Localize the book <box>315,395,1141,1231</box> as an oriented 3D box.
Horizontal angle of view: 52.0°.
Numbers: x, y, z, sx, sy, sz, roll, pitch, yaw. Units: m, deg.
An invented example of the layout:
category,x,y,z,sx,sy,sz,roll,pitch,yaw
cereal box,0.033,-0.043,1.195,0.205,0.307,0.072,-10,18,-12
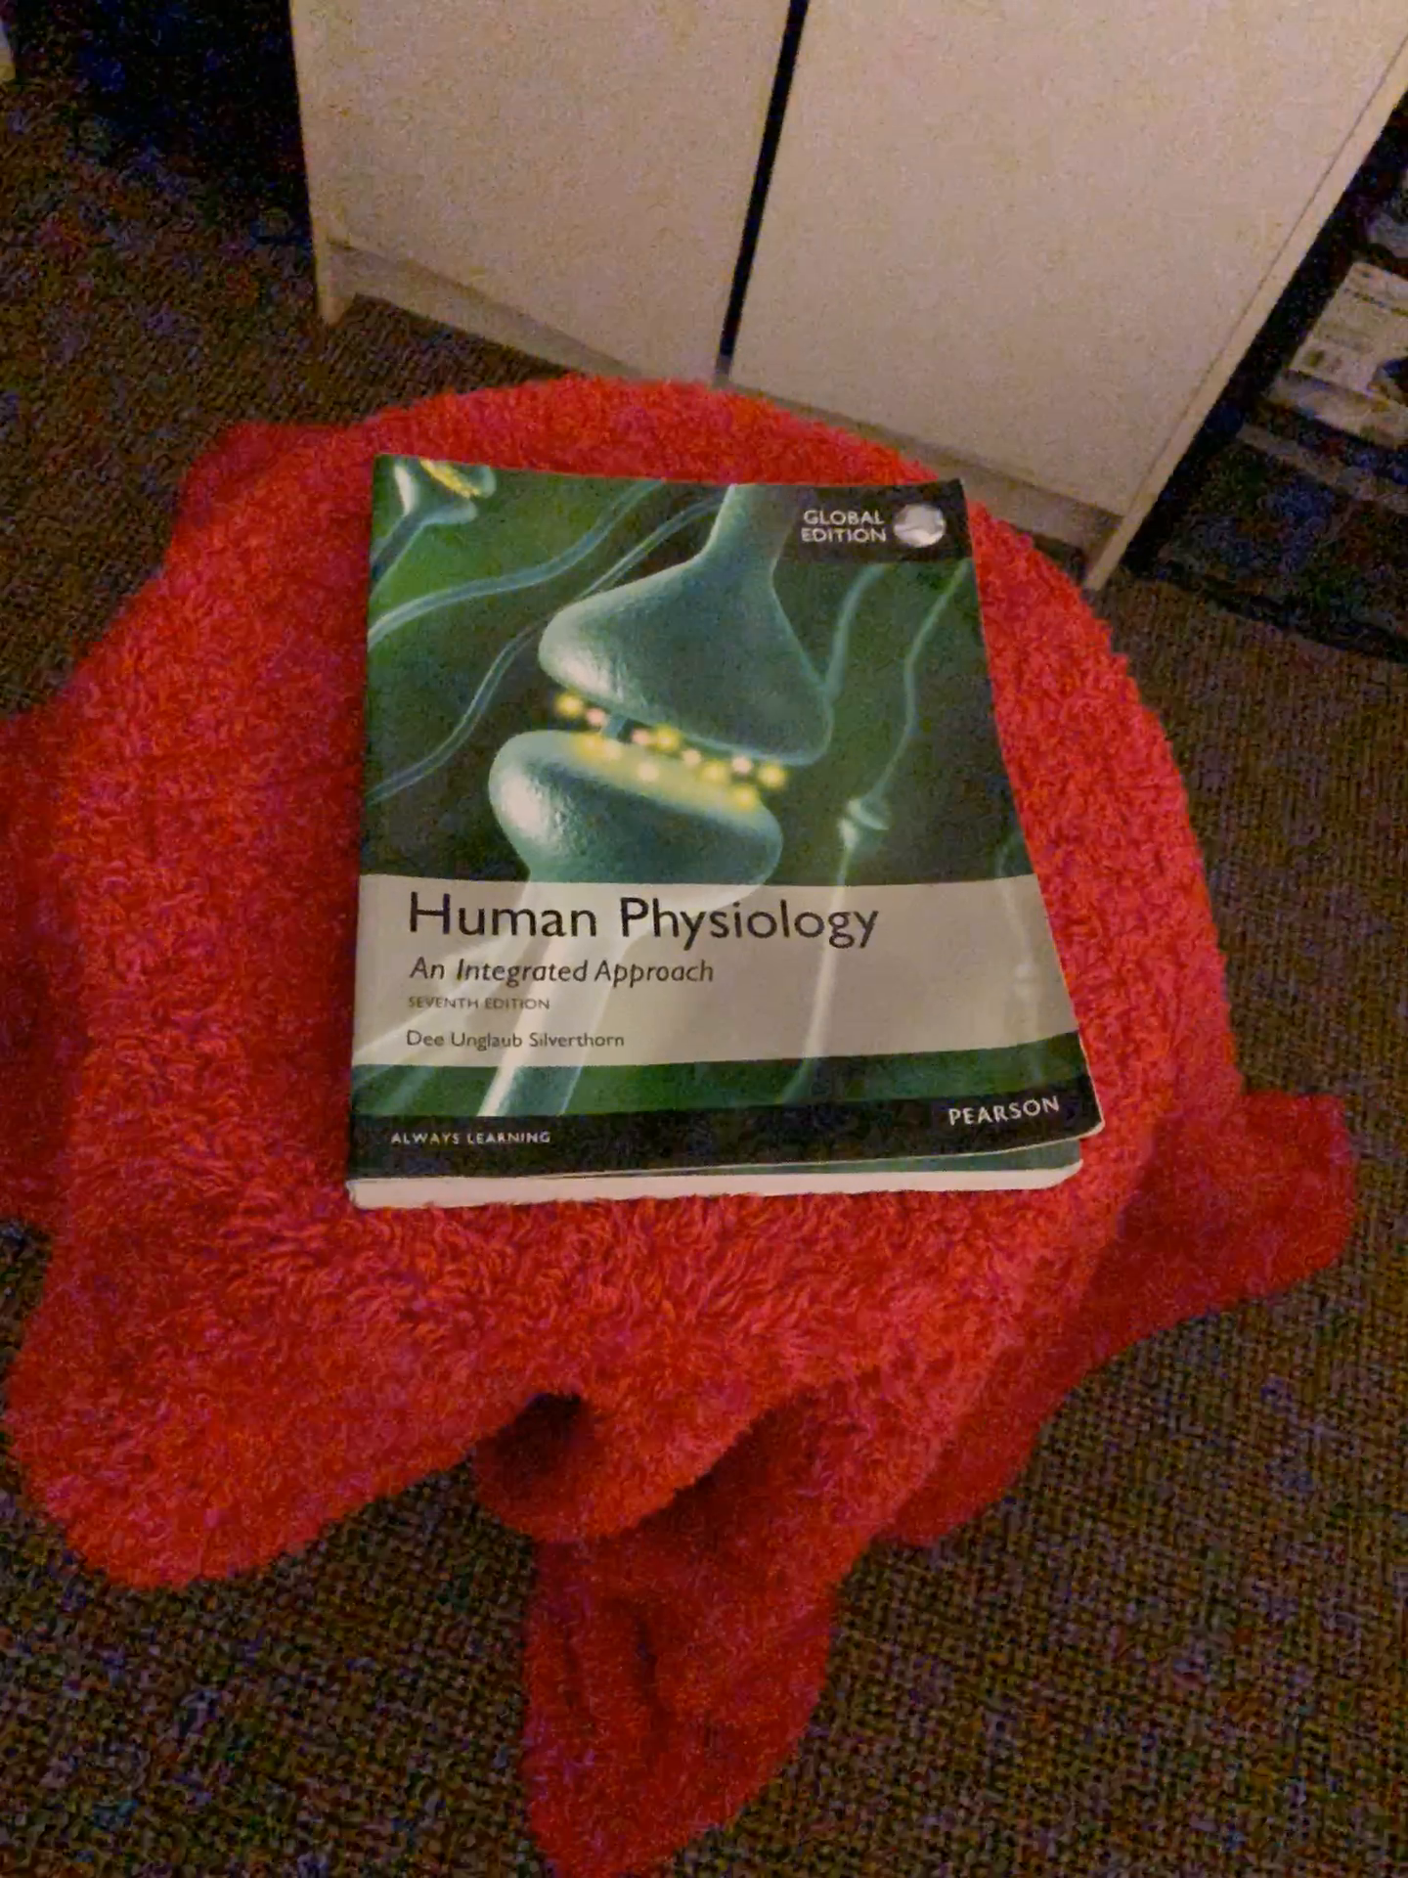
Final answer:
category,x,y,z,sx,sy,sz,roll,pitch,yaw
book,-0.003,-0.055,0.528,0.250,0.070,0.302,0,63,-10
